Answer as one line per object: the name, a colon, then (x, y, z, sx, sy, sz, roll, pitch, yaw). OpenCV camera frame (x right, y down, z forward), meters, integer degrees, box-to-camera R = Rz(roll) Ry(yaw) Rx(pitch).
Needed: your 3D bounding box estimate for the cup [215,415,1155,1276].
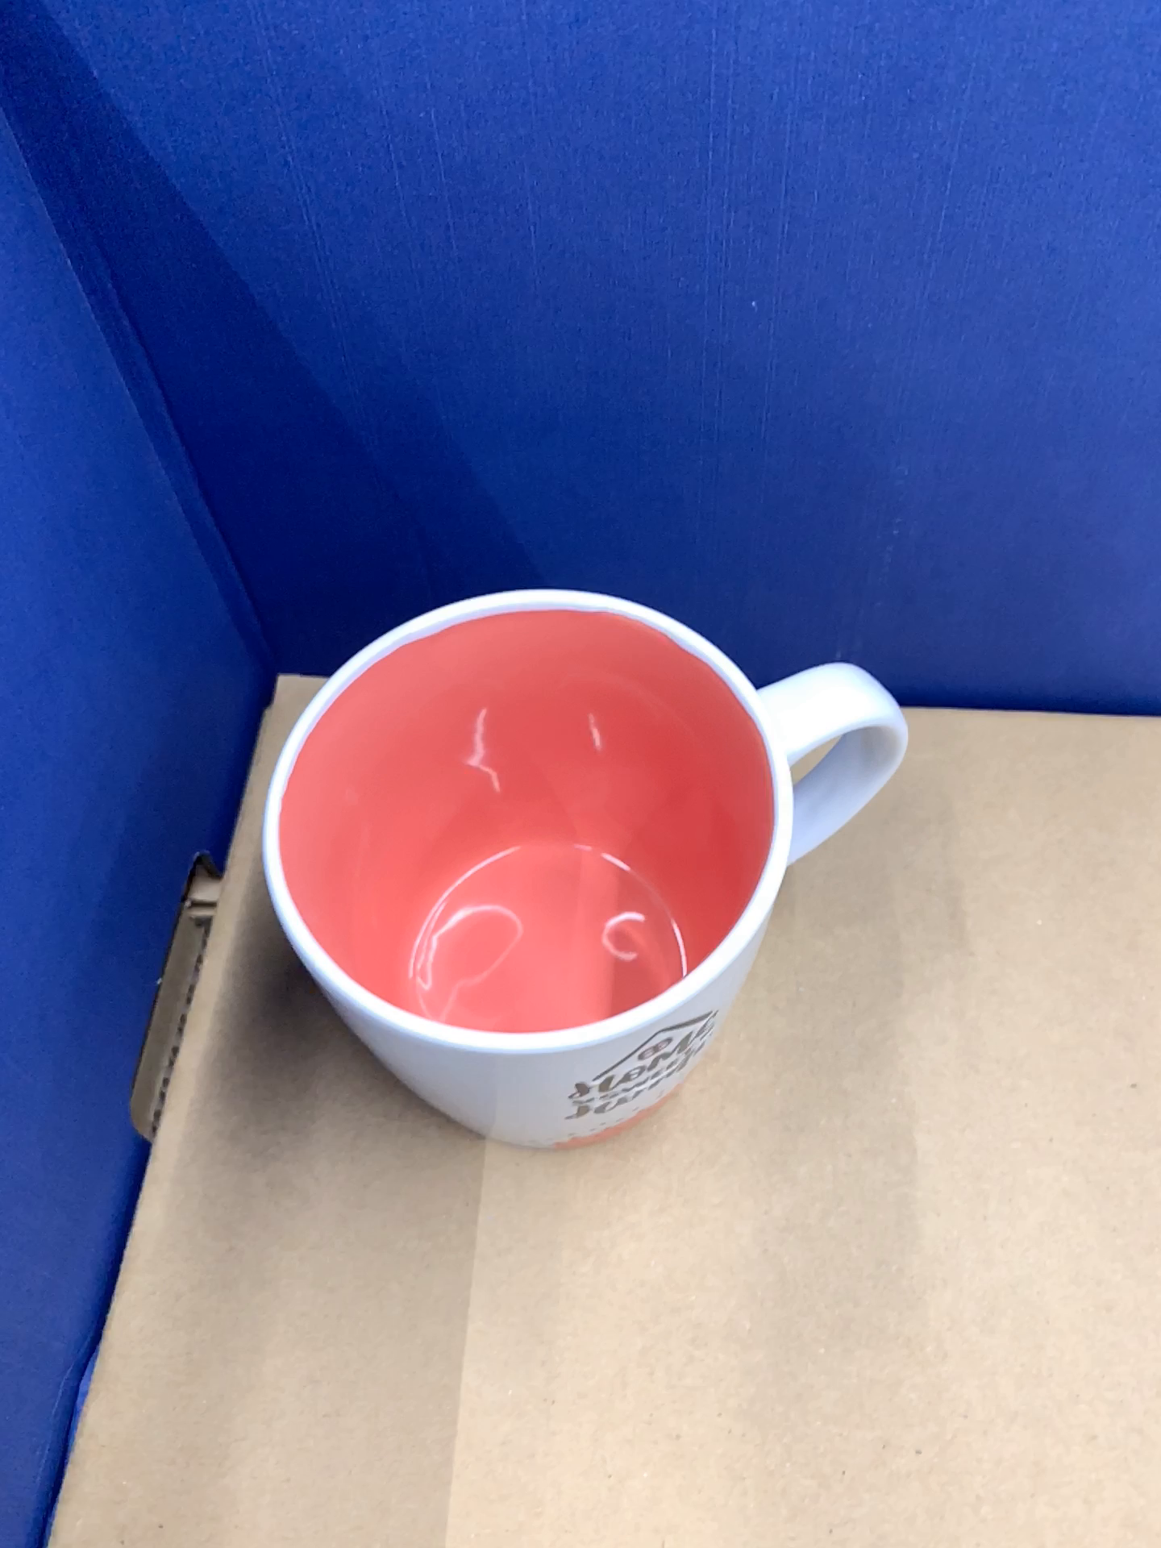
cup: (0.016, 0.010, 0.212, 0.115, 0.070, 0.083, -30, 59, -15)
